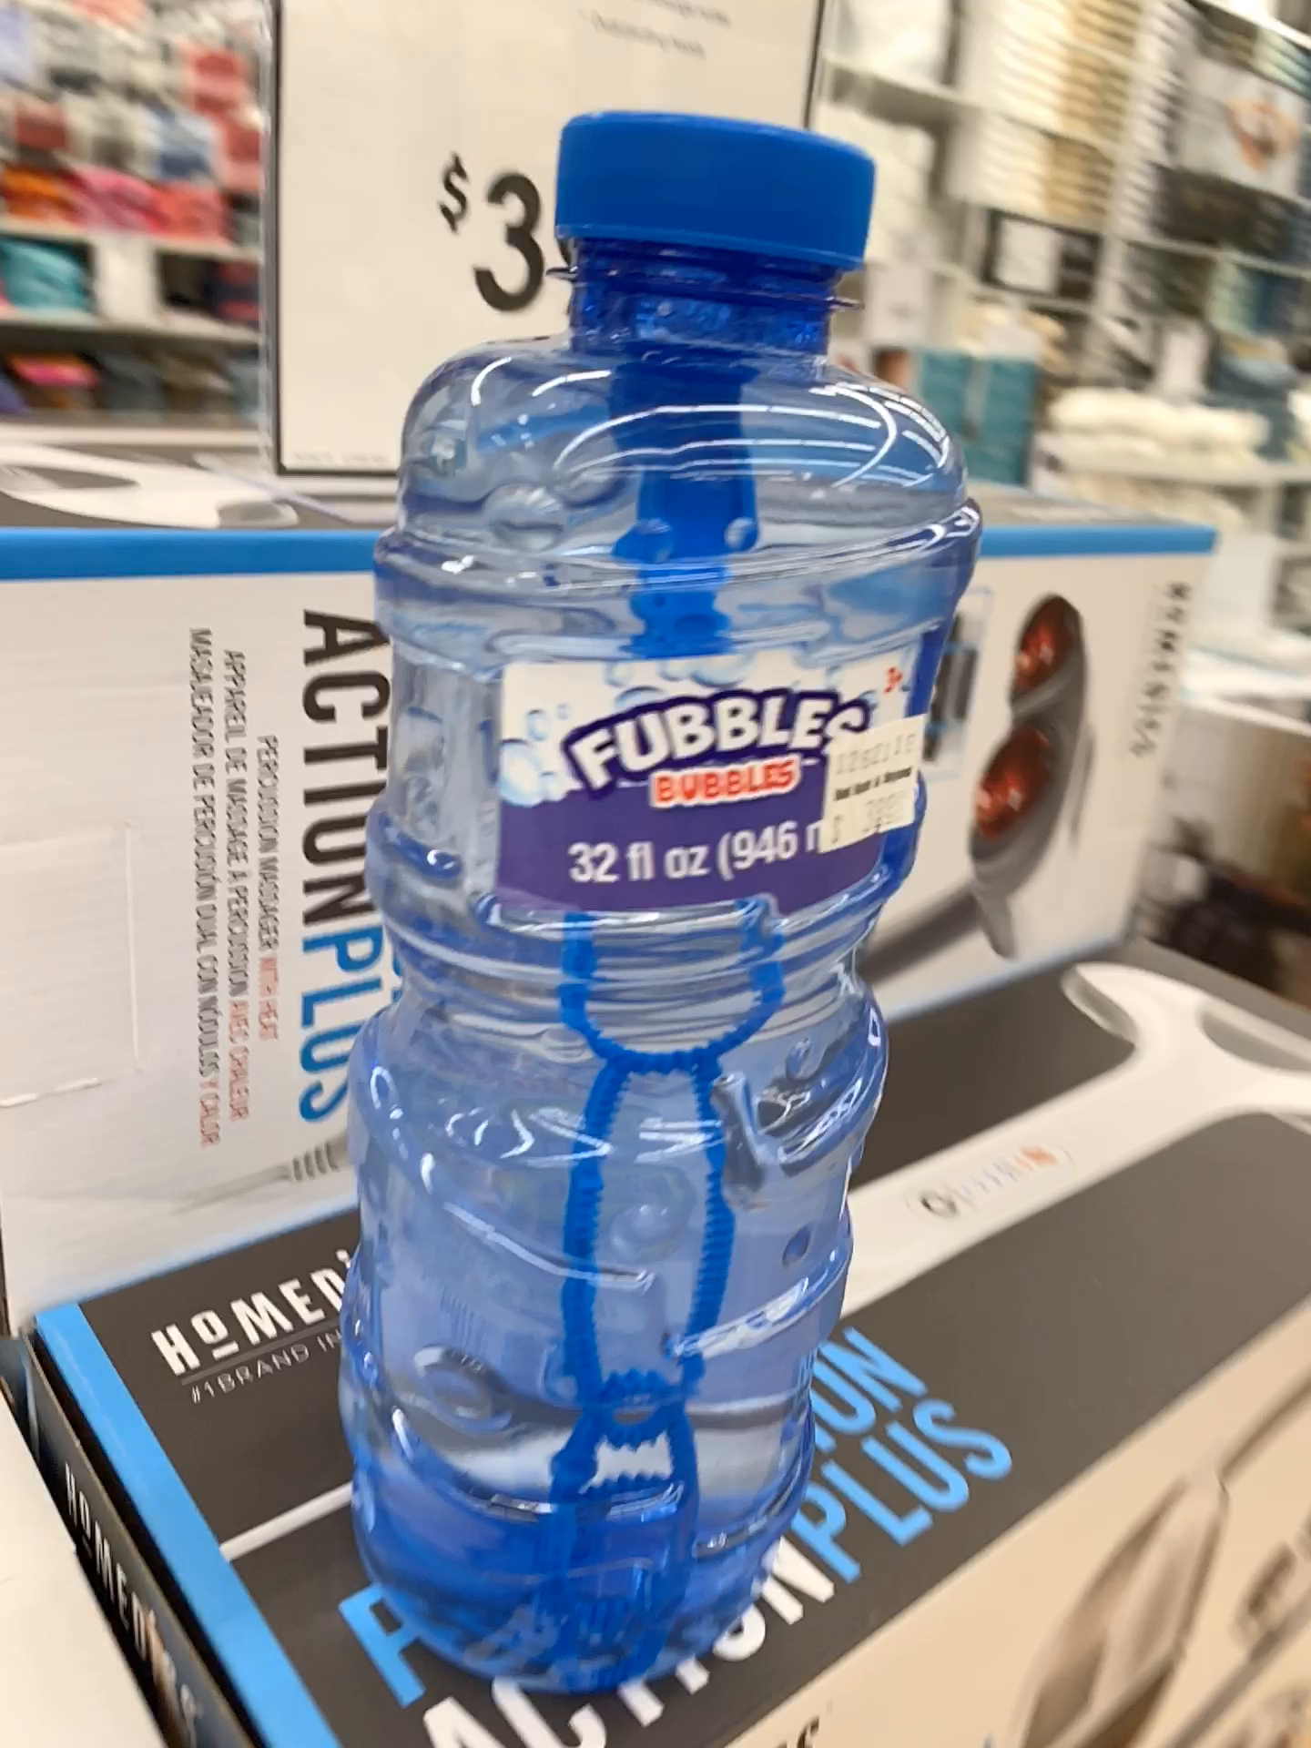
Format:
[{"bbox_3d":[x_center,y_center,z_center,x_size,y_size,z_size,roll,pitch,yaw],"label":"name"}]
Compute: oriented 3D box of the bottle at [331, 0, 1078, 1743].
[{"bbox_3d":[-0.009,0.006,0.219,0.080,0.243,0.082,4,19,-1],"label":"bottle"}]
